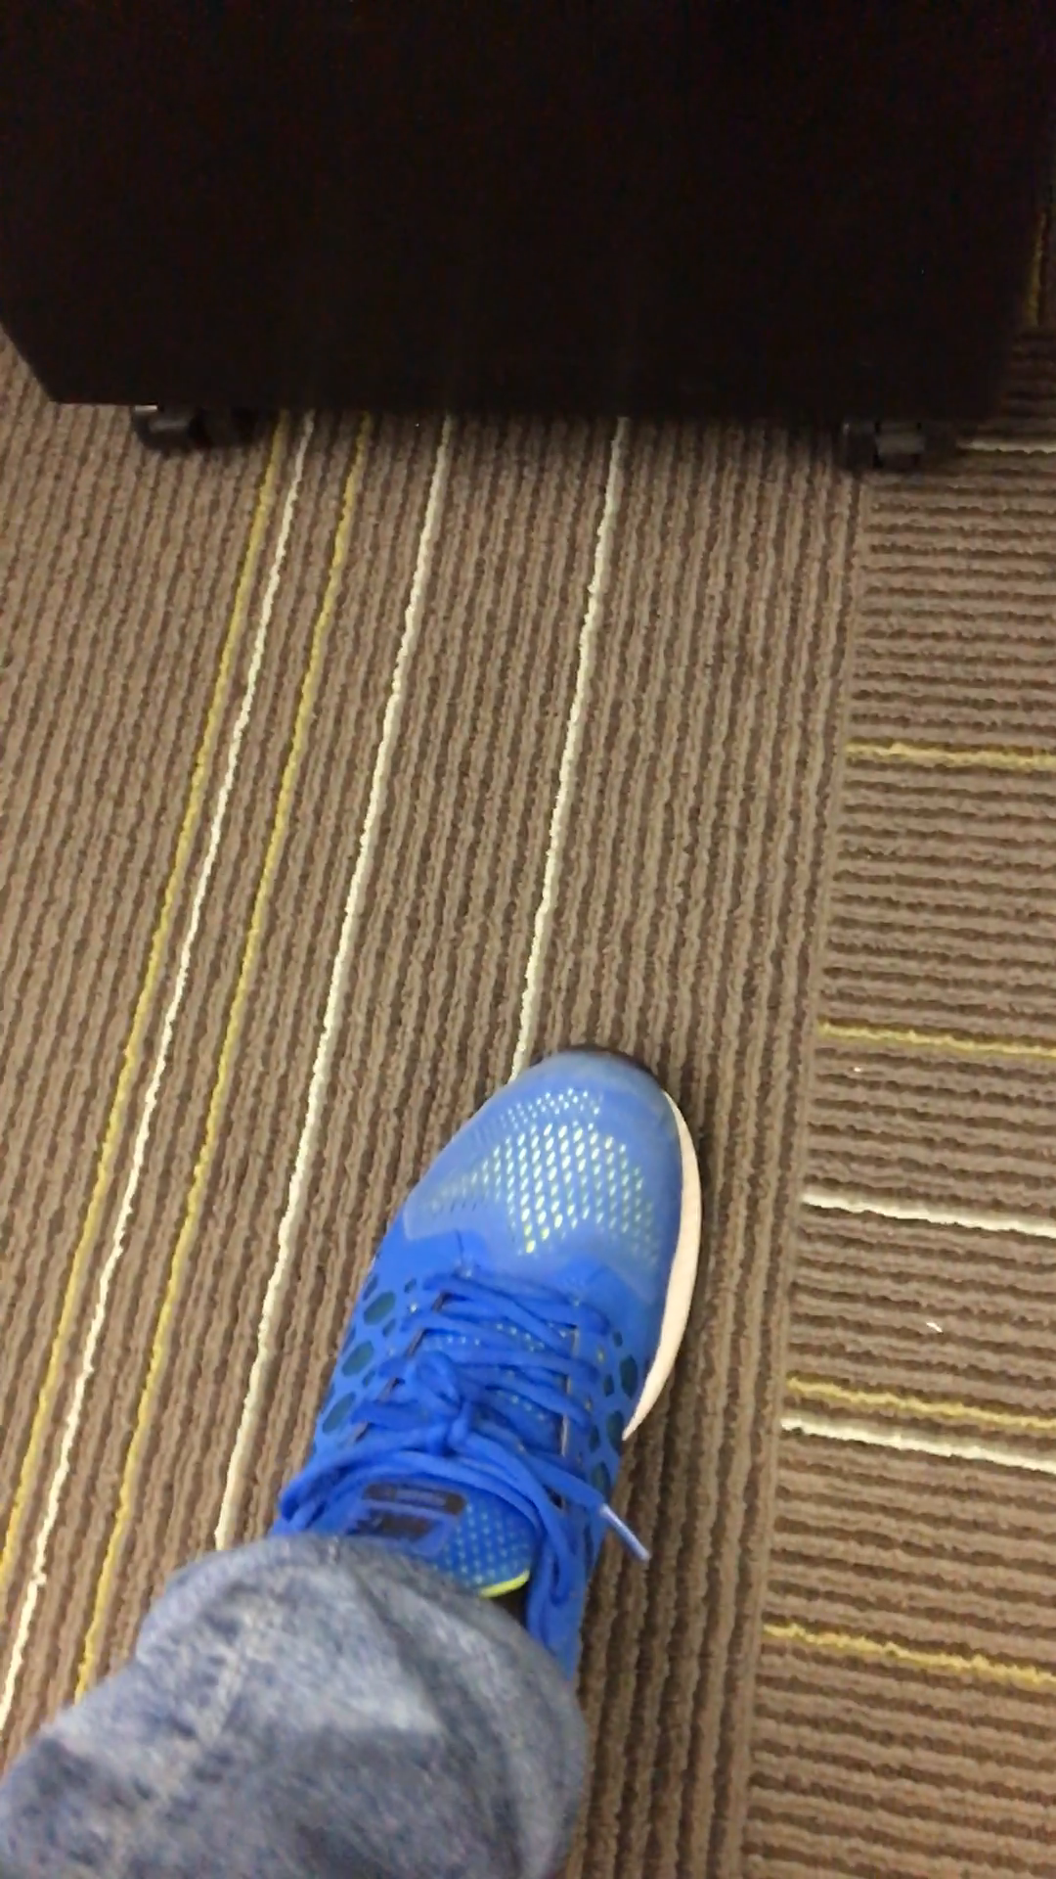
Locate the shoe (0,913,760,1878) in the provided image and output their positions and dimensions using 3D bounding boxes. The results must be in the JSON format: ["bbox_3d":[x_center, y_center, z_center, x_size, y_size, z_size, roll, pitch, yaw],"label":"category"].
[{"bbox_3d":[-0.025,0.156,0.466,0.120,0.110,0.290,13,70,13],"label":"shoe"}]
